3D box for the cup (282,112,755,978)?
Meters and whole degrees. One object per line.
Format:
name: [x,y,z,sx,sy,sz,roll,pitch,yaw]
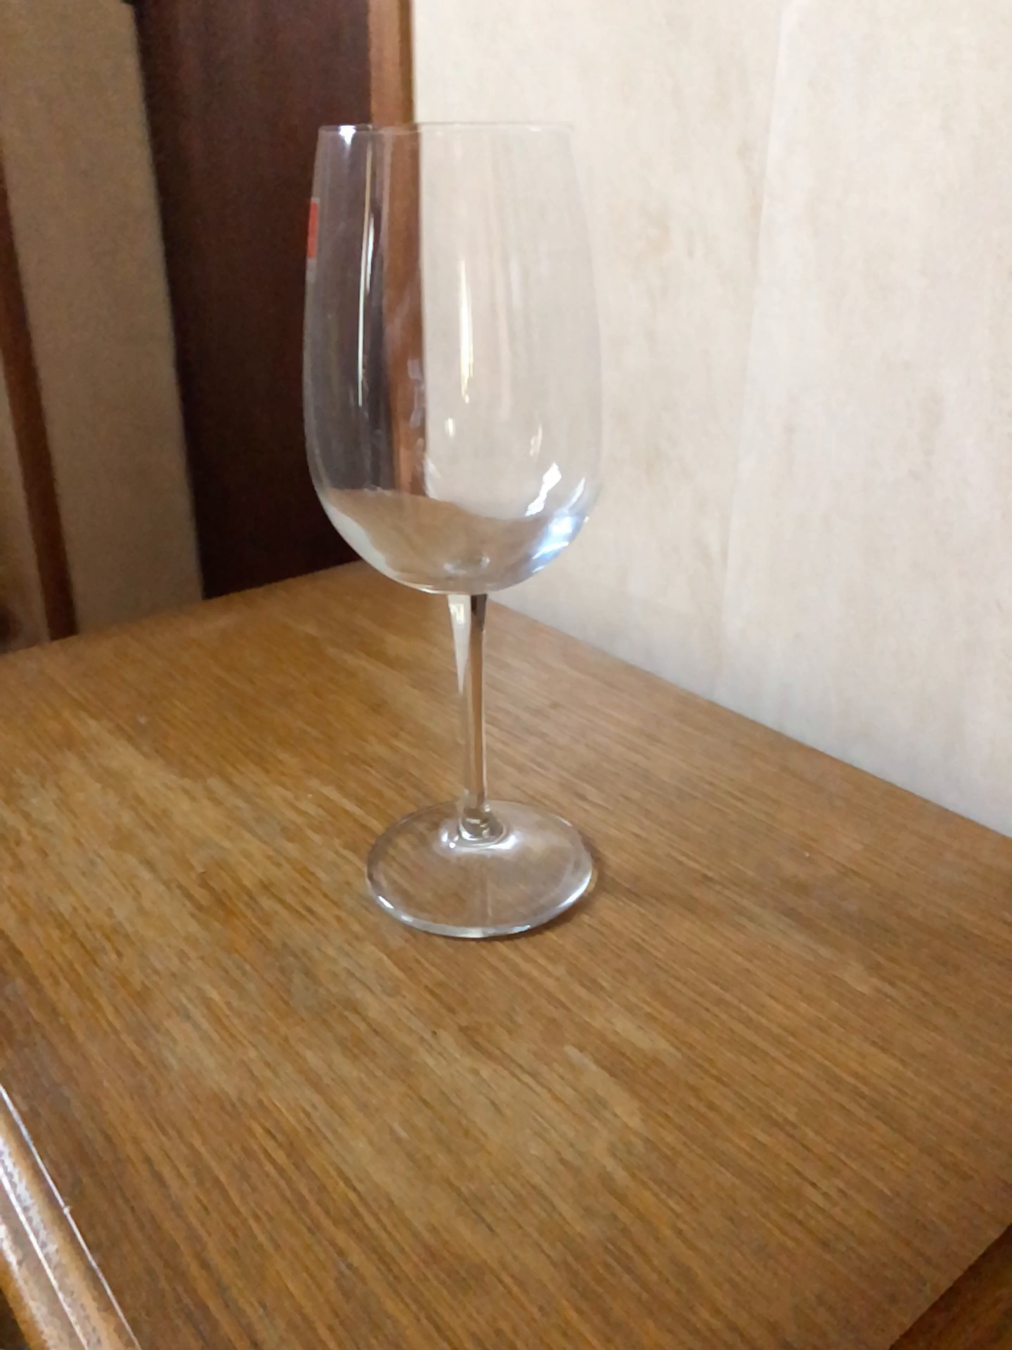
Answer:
cup: [-0.003,-0.039,0.335,0.100,0.229,0.090,-7,26,-14]
